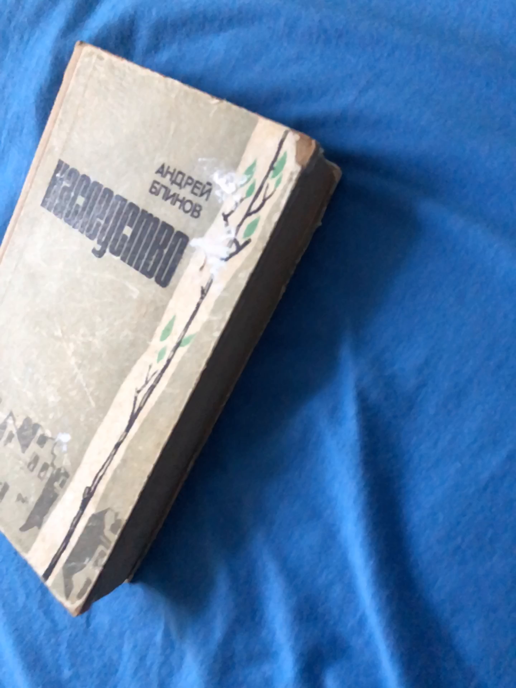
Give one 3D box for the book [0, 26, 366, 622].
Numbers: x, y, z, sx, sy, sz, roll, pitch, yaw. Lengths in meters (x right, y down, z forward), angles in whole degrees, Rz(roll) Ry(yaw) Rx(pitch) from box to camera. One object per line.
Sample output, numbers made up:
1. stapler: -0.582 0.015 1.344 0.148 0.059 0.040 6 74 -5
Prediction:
1. book: -0.065 -0.010 0.246 0.130 0.040 0.200 34 103 24
